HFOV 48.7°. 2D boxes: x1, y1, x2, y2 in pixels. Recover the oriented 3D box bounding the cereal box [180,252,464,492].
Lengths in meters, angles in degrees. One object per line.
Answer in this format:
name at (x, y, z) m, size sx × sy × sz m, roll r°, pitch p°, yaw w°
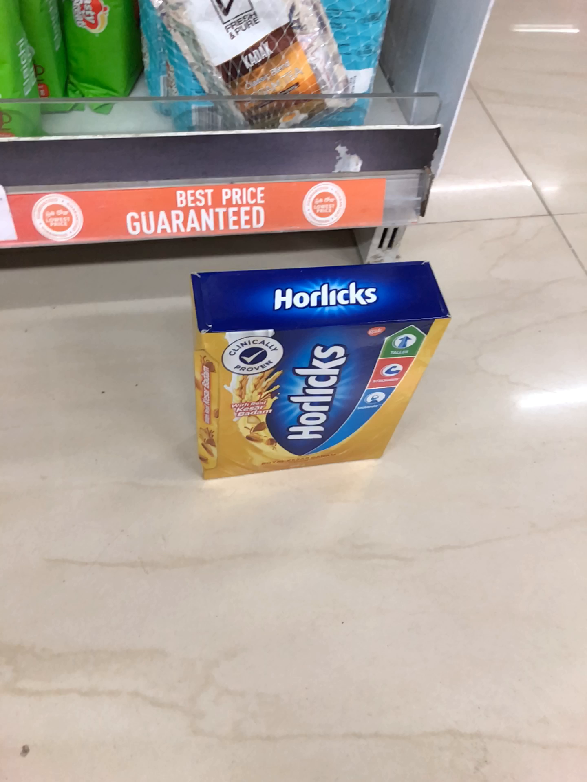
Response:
cereal box at (0.007, -0.004, 0.430) m, size 0.150 × 0.179 × 0.050 m, roll -6°, pitch 57°, yaw -11°
